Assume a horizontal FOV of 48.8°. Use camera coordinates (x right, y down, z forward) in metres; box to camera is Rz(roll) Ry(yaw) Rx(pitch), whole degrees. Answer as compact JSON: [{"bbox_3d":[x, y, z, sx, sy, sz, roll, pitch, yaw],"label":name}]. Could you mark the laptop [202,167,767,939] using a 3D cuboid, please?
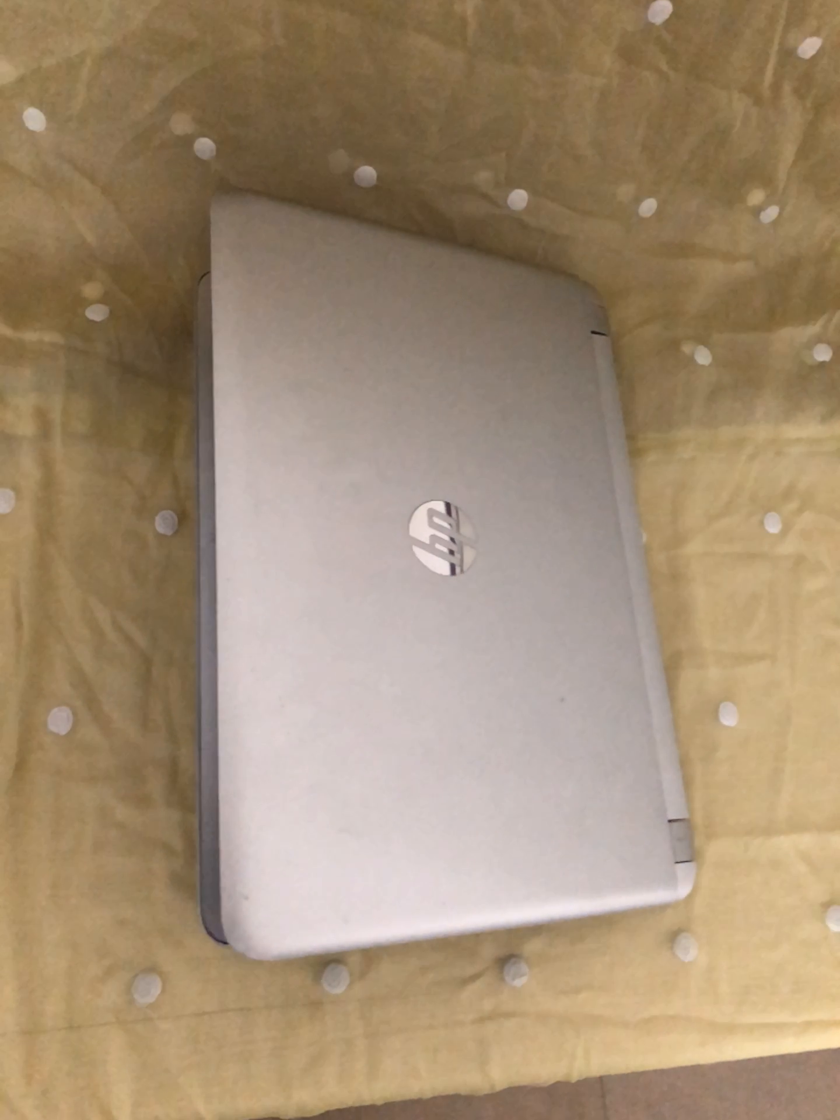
[{"bbox_3d":[0.015,-0.016,0.479,0.243,0.077,0.366,-1,72,-13],"label":"laptop"}]
